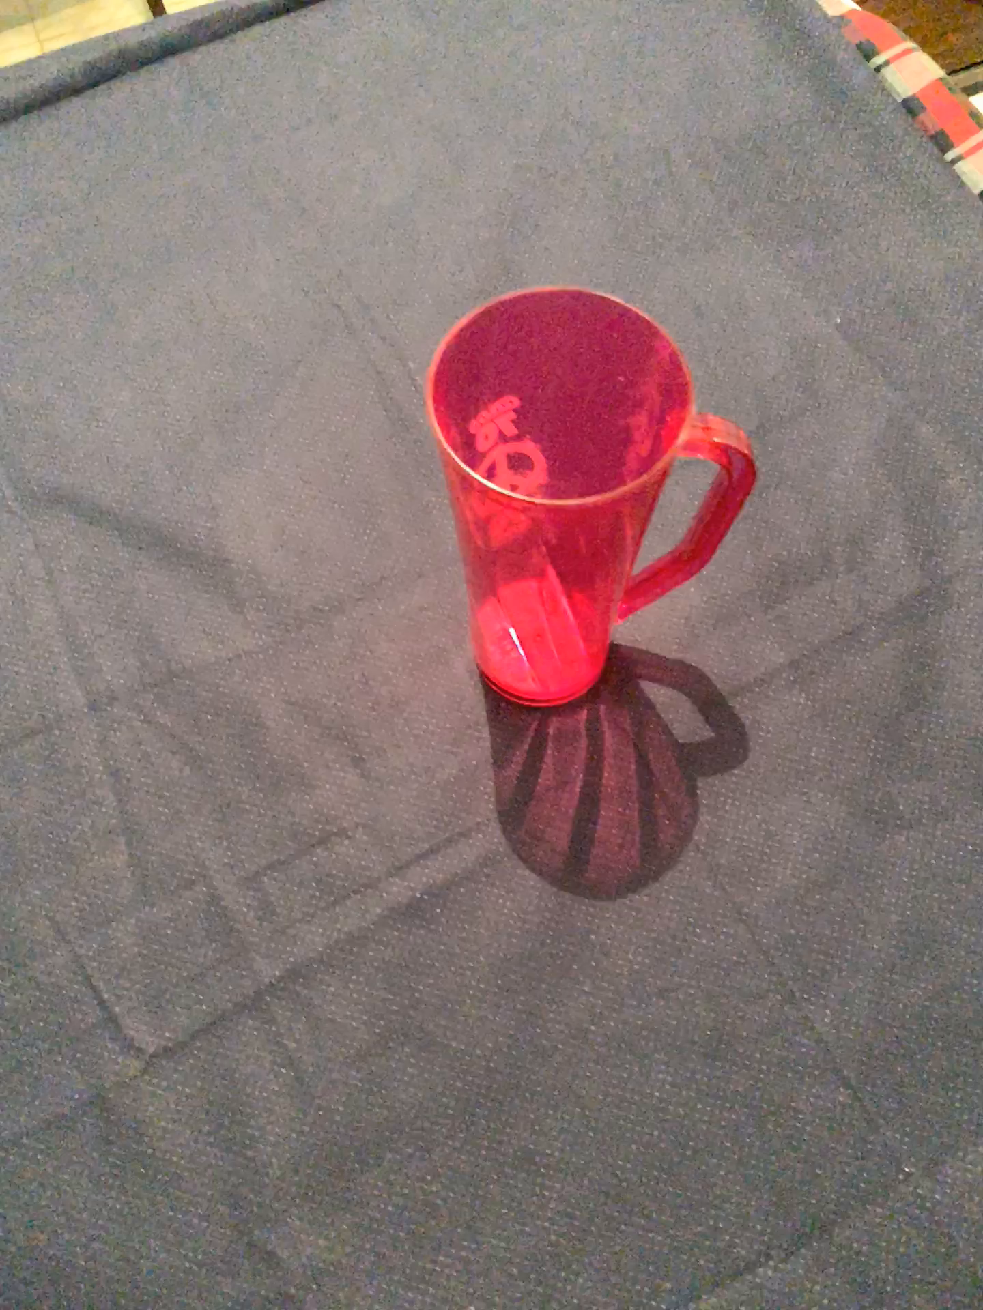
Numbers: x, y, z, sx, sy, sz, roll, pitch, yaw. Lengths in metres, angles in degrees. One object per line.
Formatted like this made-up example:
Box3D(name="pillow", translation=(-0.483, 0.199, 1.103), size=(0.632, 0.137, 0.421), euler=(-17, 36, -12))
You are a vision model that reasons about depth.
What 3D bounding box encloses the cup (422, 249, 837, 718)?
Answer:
Box3D(name="cup", translation=(0.034, -0.042, 0.337), size=(0.100, 0.170, 0.070), euler=(-2, 67, 0))
